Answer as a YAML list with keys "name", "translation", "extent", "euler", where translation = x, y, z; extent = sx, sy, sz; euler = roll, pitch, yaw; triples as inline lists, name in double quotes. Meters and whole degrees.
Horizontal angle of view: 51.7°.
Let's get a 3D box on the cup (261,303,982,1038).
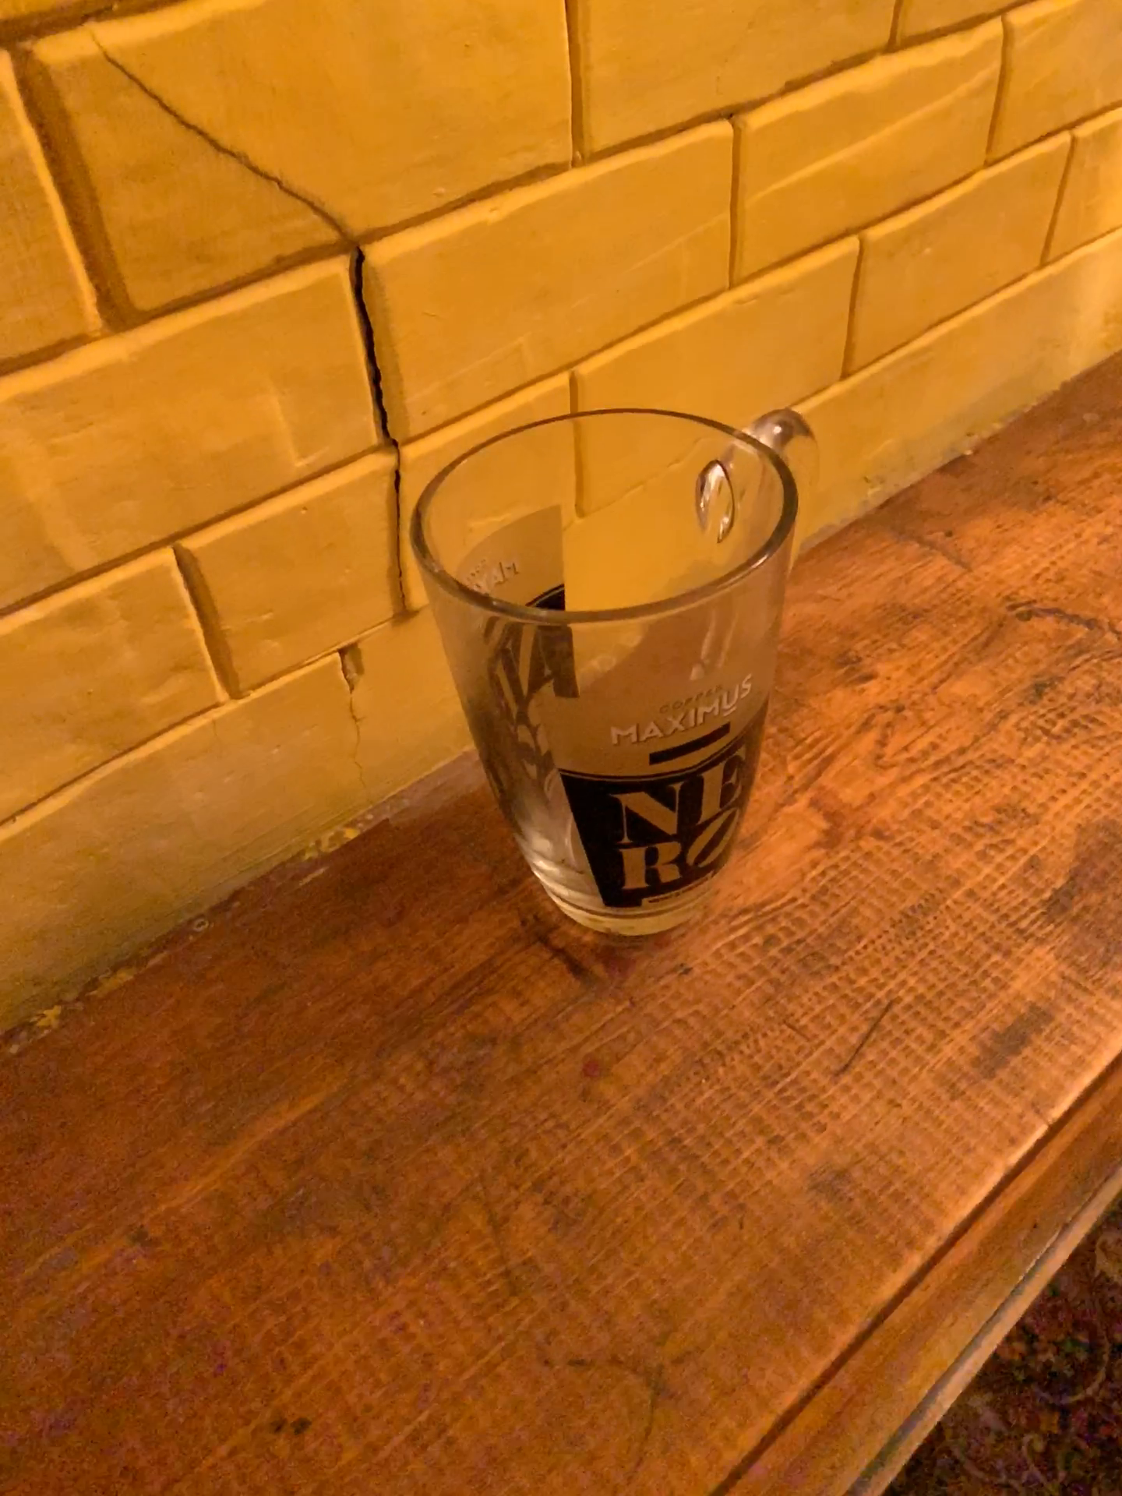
- name: "cup"
  translation: [0.017, -0.025, 0.279]
  extent: [0.094, 0.098, 0.125]
  euler: [33, 56, 31]
